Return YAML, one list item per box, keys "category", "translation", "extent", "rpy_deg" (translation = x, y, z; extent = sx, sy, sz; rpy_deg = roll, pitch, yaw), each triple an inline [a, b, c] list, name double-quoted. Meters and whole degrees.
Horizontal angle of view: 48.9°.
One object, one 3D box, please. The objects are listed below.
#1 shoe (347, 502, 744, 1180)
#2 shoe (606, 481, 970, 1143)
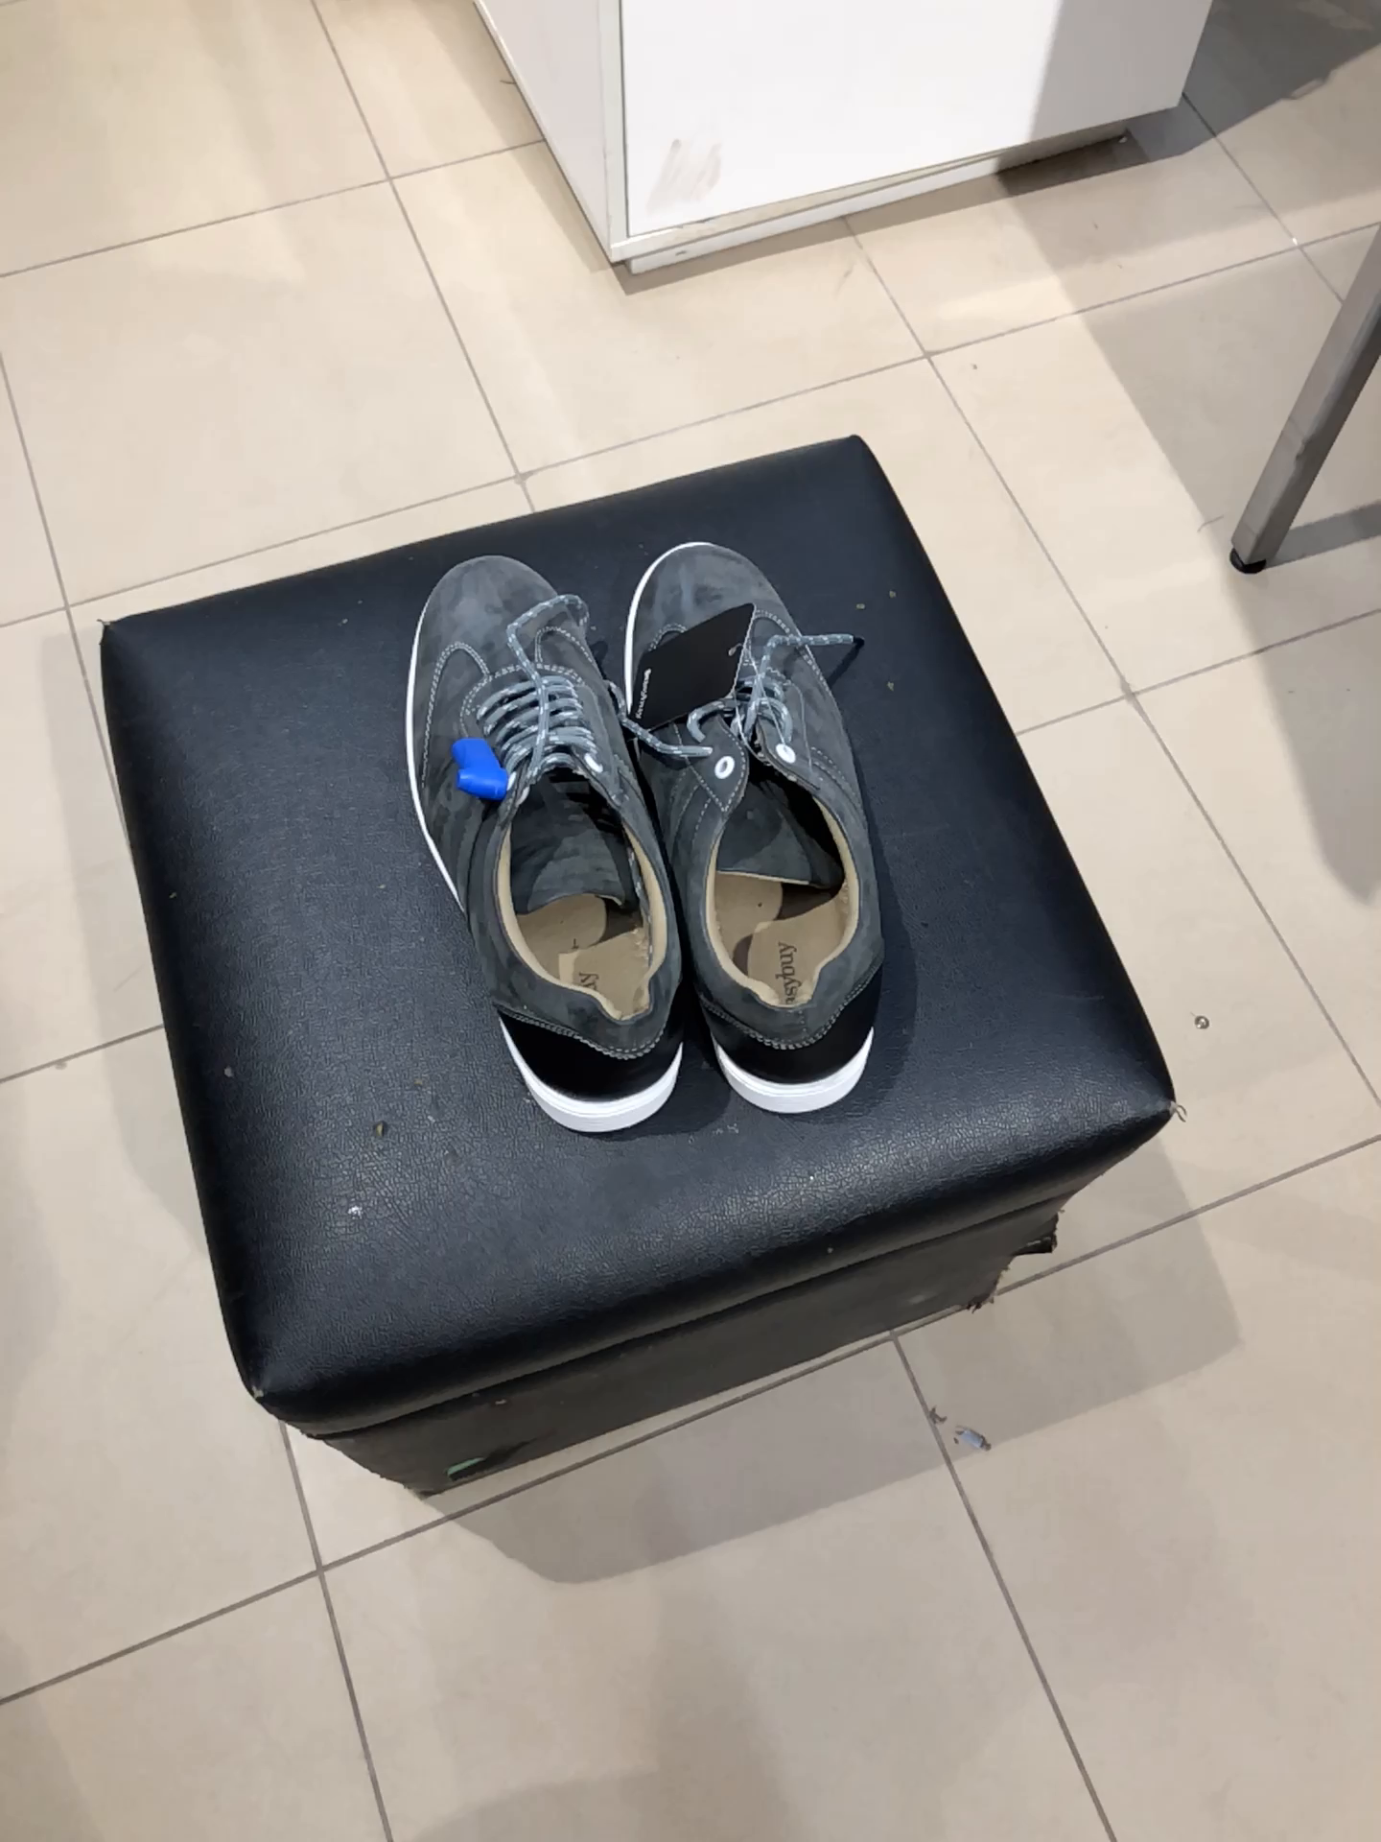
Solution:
- category: "shoe"
  translation: [-0.063, -0.036, 0.639]
  extent: [0.100, 0.107, 0.249]
  rpy_deg: [-14, 66, -7]
- category: "shoe"
  translation: [0.032, -0.048, 0.643]
  extent: [0.100, 0.107, 0.249]
  rpy_deg: [-7, 65, -4]
